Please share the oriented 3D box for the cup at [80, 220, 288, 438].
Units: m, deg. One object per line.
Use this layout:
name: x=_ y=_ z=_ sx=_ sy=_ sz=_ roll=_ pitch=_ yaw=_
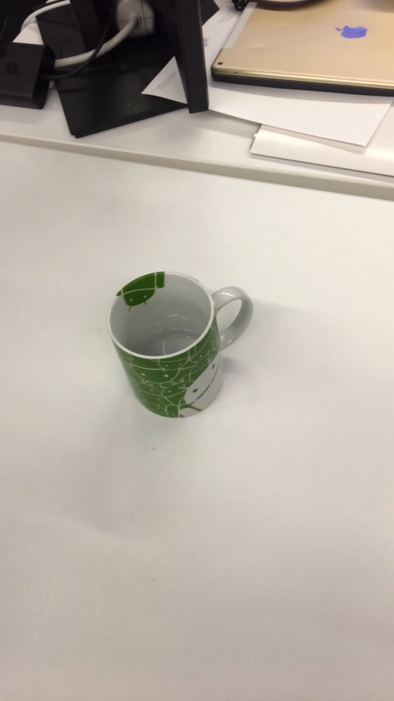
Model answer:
cup: x=-0.006 y=-0.017 z=0.459 sx=0.120 sy=0.090 sz=0.090 roll=-32 pitch=59 yaw=-14
